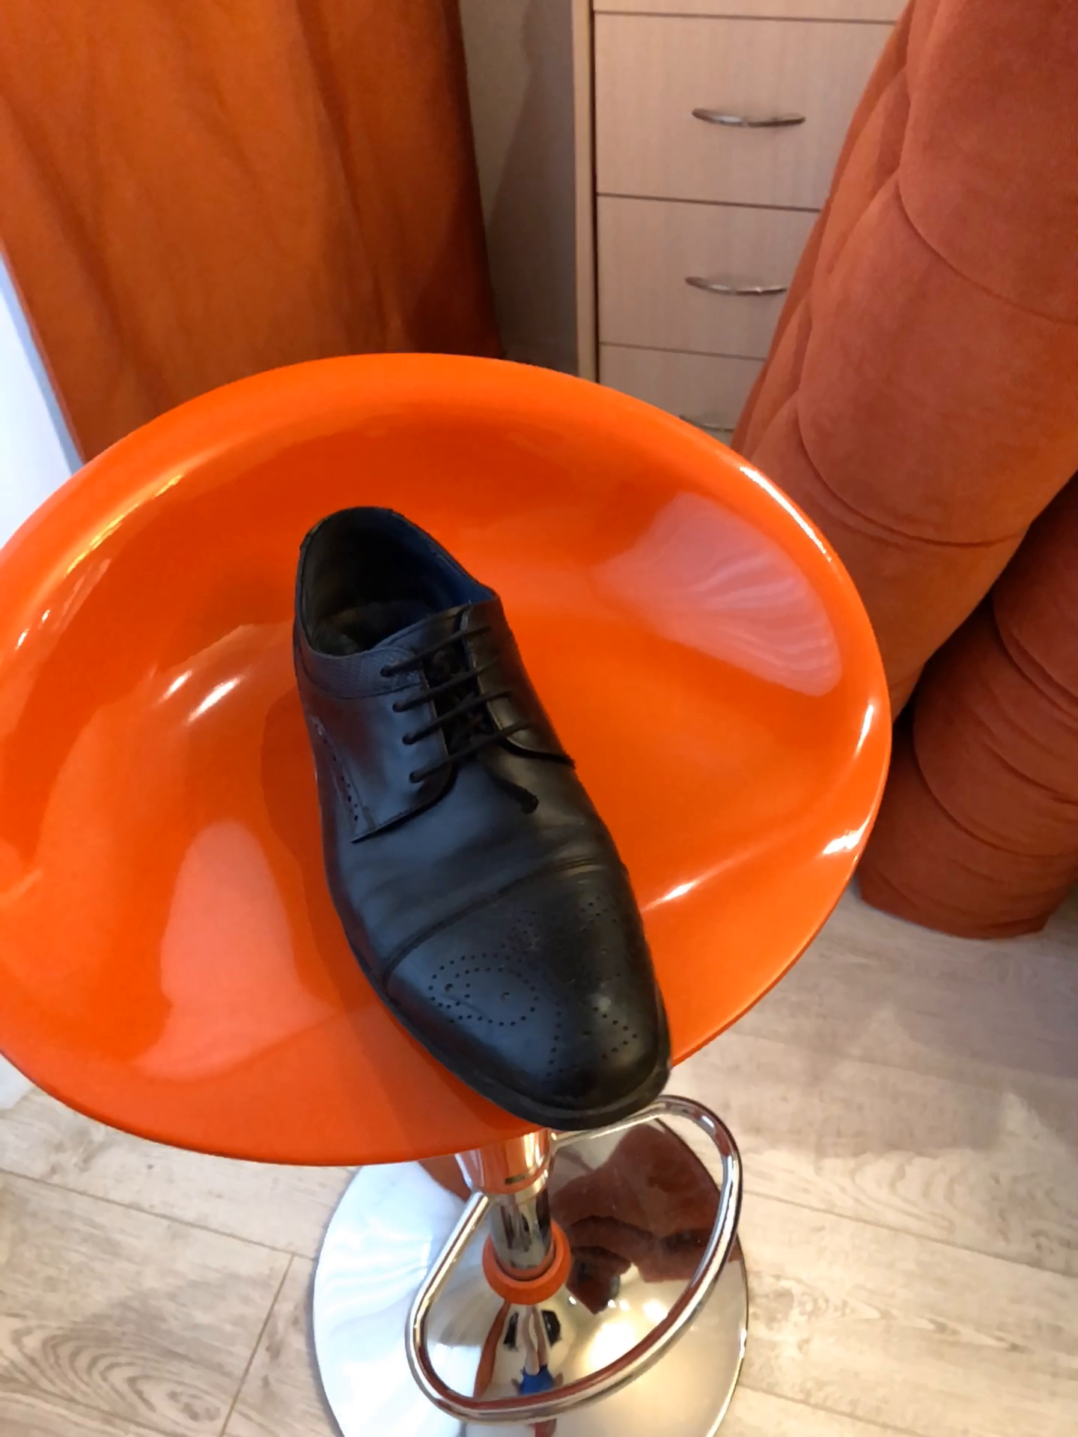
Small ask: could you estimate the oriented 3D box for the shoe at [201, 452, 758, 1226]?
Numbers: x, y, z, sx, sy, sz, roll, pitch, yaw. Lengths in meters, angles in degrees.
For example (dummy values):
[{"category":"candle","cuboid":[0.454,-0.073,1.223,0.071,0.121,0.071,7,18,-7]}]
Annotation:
[{"category":"shoe","cuboid":[-0.040,0.021,0.471,0.120,0.079,0.302,-17,48,-11]}]
